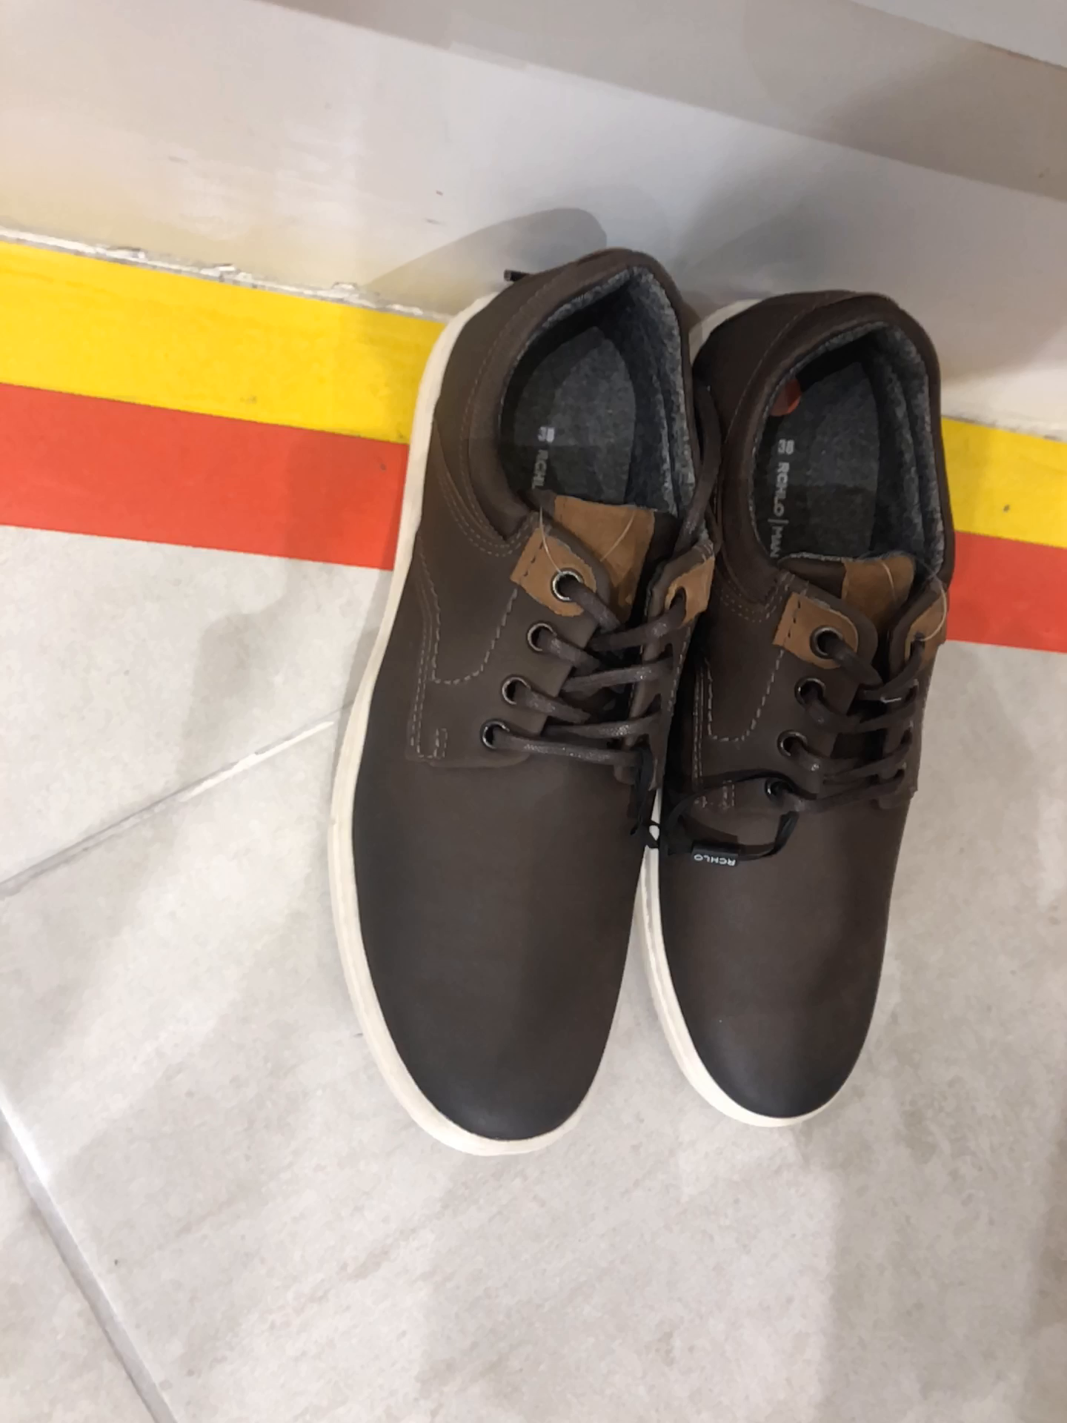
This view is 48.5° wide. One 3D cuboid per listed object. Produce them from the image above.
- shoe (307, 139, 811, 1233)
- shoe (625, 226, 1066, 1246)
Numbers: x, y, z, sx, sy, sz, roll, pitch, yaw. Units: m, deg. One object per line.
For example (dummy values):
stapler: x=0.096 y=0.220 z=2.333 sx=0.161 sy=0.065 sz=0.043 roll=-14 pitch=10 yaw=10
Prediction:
shoe: x=0.001 y=-0.004 z=0.354 sx=0.100 sy=0.100 sz=0.270 roll=5 pitch=90 yaw=-18
shoe: x=0.096 y=0.006 z=0.375 sx=0.100 sy=0.100 sz=0.270 roll=-1 pitch=95 yaw=-18
